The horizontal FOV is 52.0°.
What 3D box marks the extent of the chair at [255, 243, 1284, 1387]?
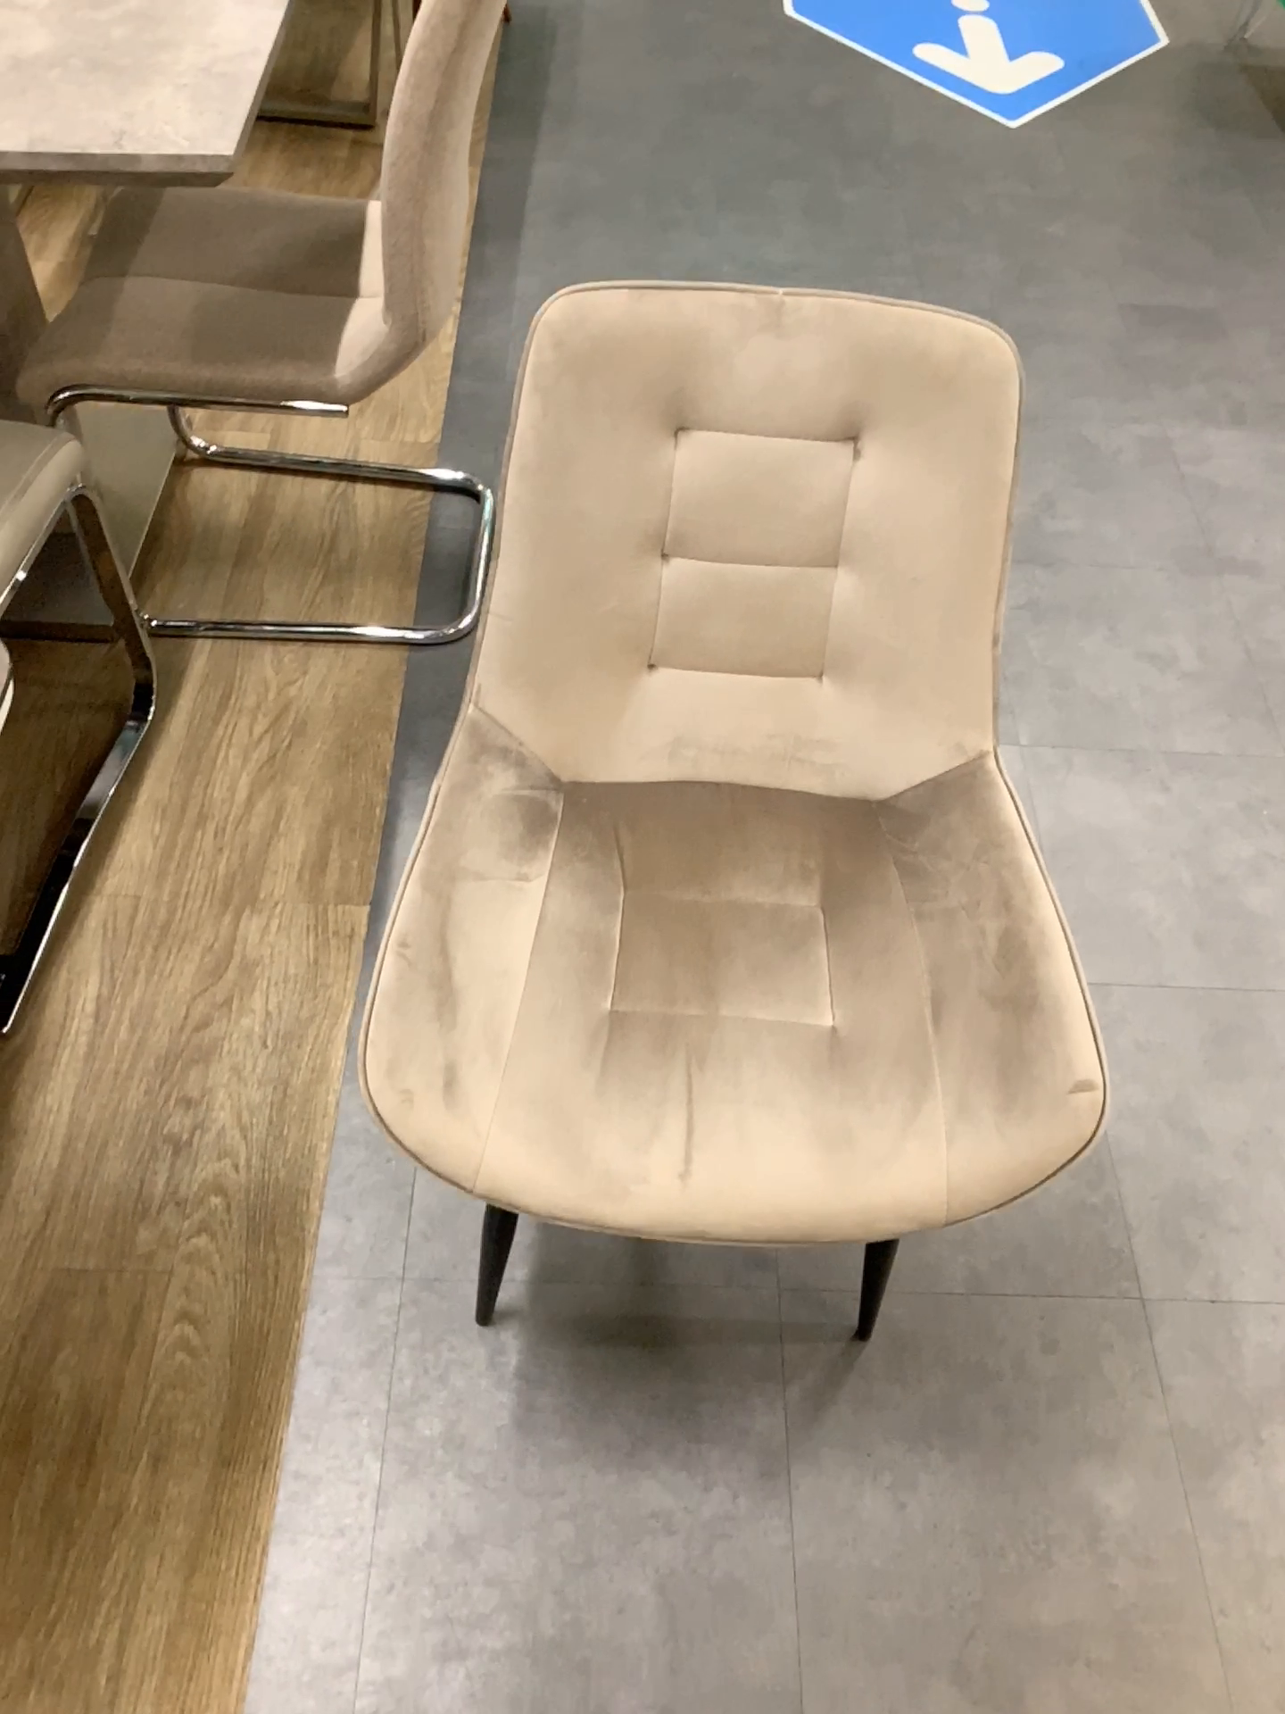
[{"bbox_3d":[0.072,0.027,1.184,0.566,0.819,0.612,4,53,-2],"label":"chair"}]
